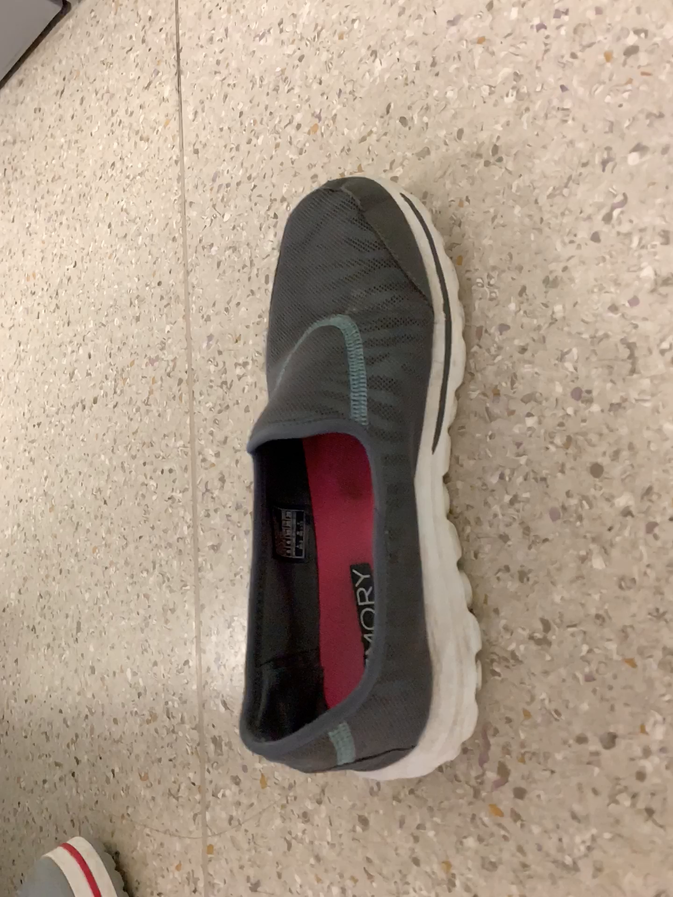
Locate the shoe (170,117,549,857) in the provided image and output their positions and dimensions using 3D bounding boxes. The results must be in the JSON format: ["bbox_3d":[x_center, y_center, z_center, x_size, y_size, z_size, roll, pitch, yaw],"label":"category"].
[{"bbox_3d":[0.001,0.013,0.279,0.103,0.075,0.239,-17,73,40],"label":"shoe"}]
